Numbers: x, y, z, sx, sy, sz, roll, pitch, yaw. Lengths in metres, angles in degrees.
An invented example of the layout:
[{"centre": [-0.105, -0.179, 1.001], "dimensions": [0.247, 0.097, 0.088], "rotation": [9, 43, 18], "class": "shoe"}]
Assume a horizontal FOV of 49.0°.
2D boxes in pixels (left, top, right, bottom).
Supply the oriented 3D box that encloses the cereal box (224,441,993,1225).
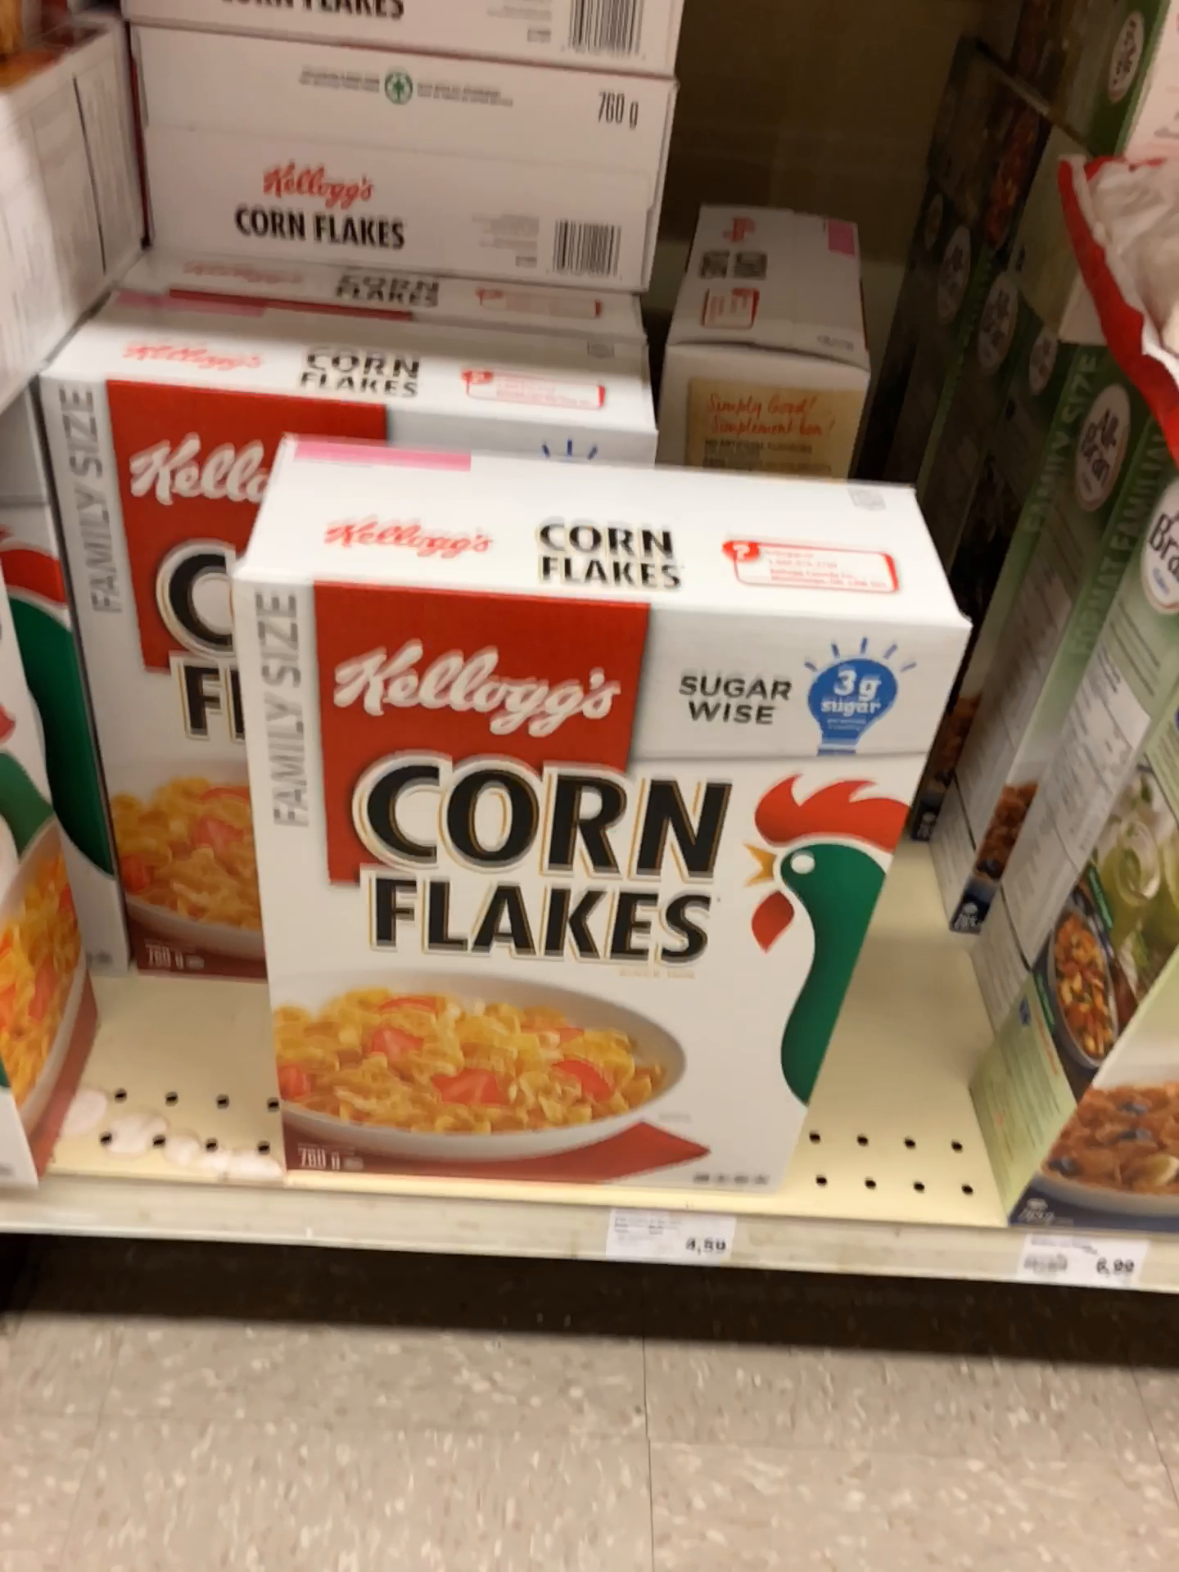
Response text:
[{"centre": [-0.011, 0.051, 0.610], "dimensions": [0.270, 0.387, 0.101], "rotation": [3, 39, -6], "class": "cereal box"}]
